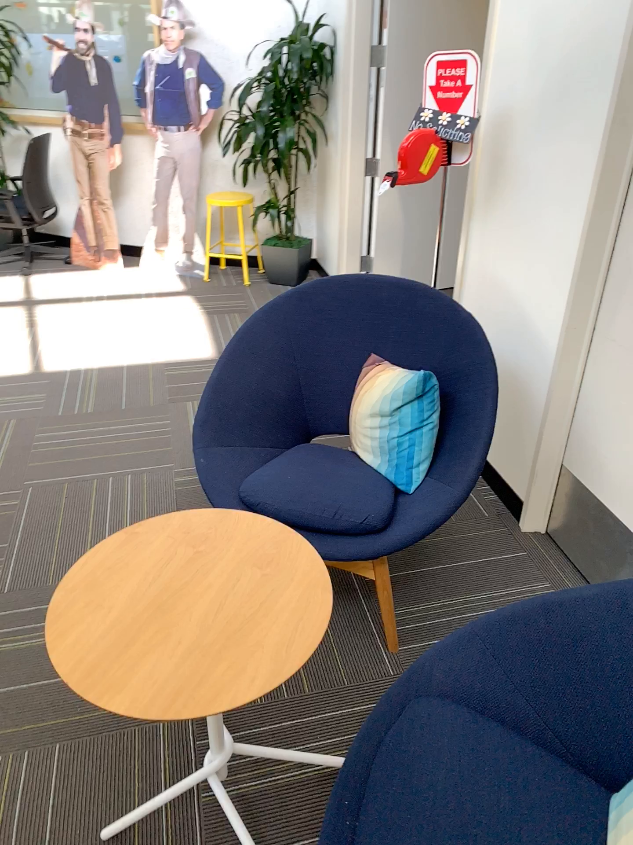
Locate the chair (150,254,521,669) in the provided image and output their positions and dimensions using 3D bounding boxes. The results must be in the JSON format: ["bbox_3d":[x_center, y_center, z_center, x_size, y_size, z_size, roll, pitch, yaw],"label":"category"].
[{"bbox_3d":[0.104,0.037,2.037,0.791,0.835,0.843,14,32,21],"label":"chair"}]

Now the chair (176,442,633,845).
[{"bbox_3d":[0.476,0.752,1.013,0.982,0.945,0.833,15,33,23],"label":"chair"}]
